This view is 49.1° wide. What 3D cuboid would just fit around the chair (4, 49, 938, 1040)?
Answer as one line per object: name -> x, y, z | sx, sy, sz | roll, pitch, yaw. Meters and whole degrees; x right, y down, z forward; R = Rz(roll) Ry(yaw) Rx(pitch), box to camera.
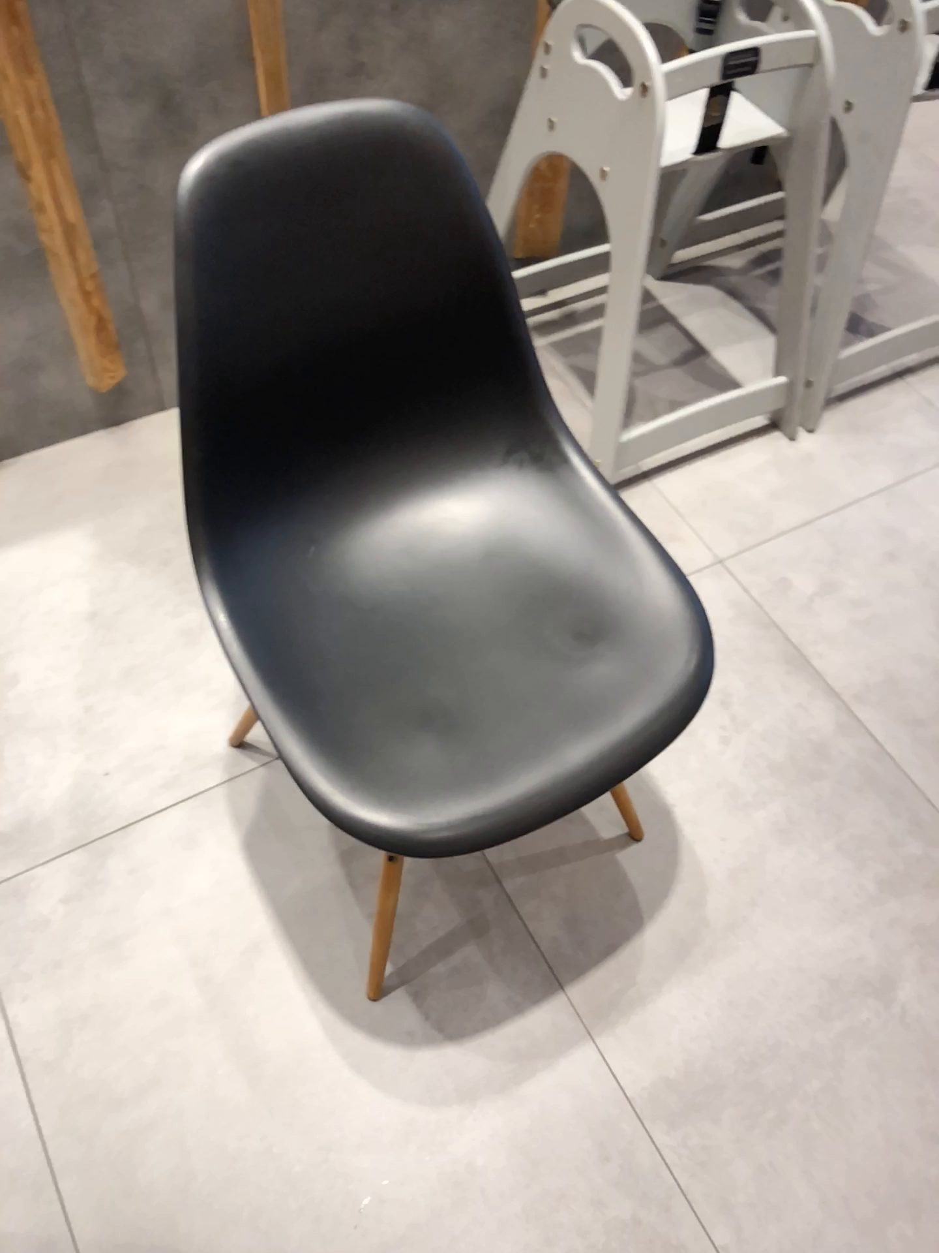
chair -> -0.037, -0.046, 1.098 | 0.509, 0.758, 0.565 | -25, 60, -21
